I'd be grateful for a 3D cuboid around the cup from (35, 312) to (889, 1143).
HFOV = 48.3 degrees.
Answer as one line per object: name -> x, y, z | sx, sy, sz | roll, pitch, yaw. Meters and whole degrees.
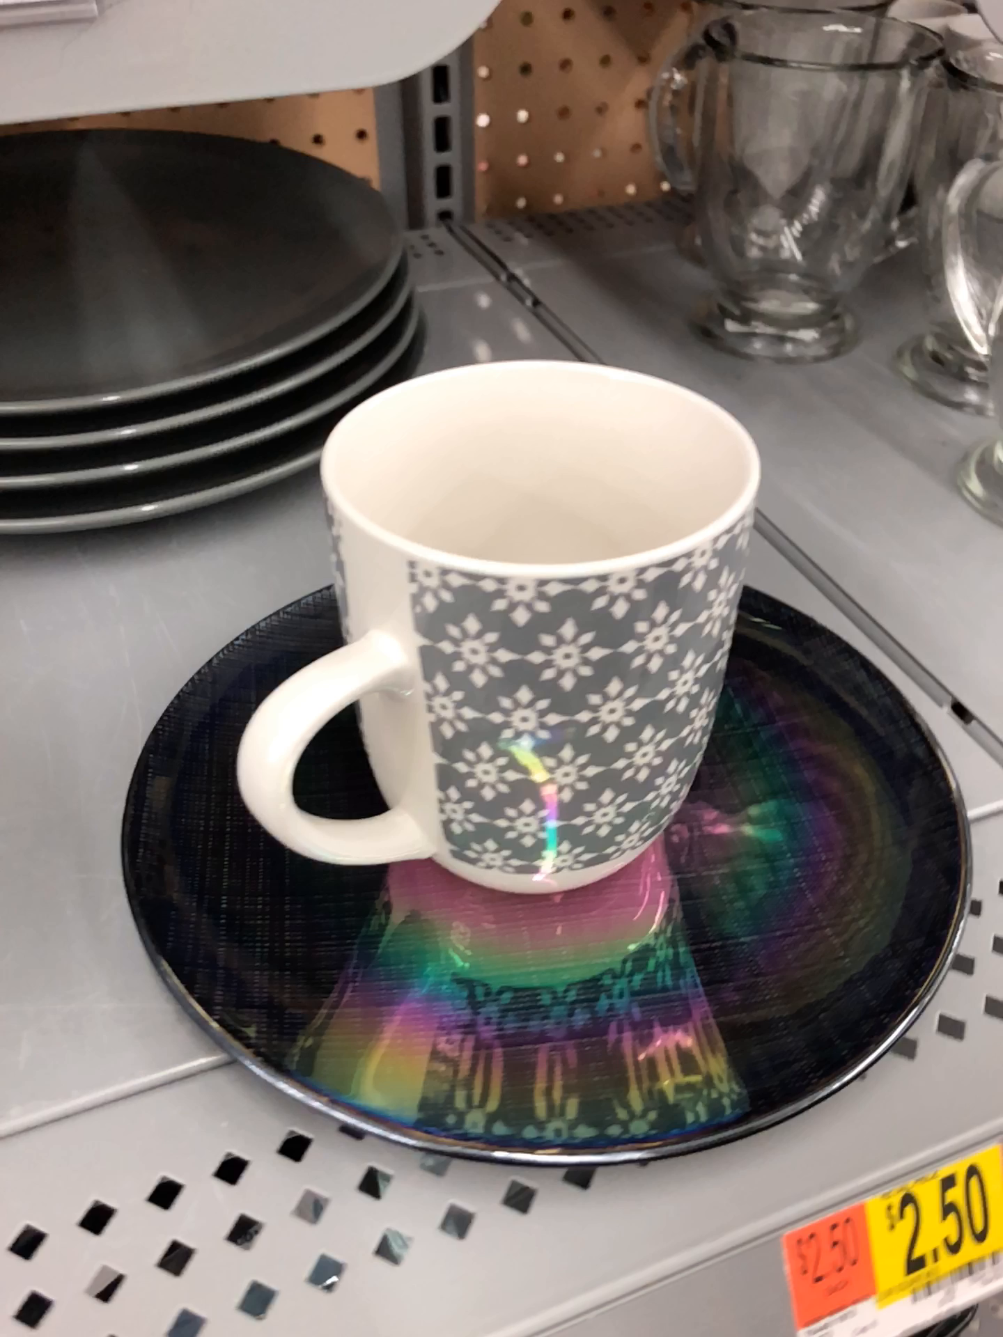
cup -> -0.004, 0.001, 0.239 | 0.129, 0.096, 0.093 | -31, 49, -32
